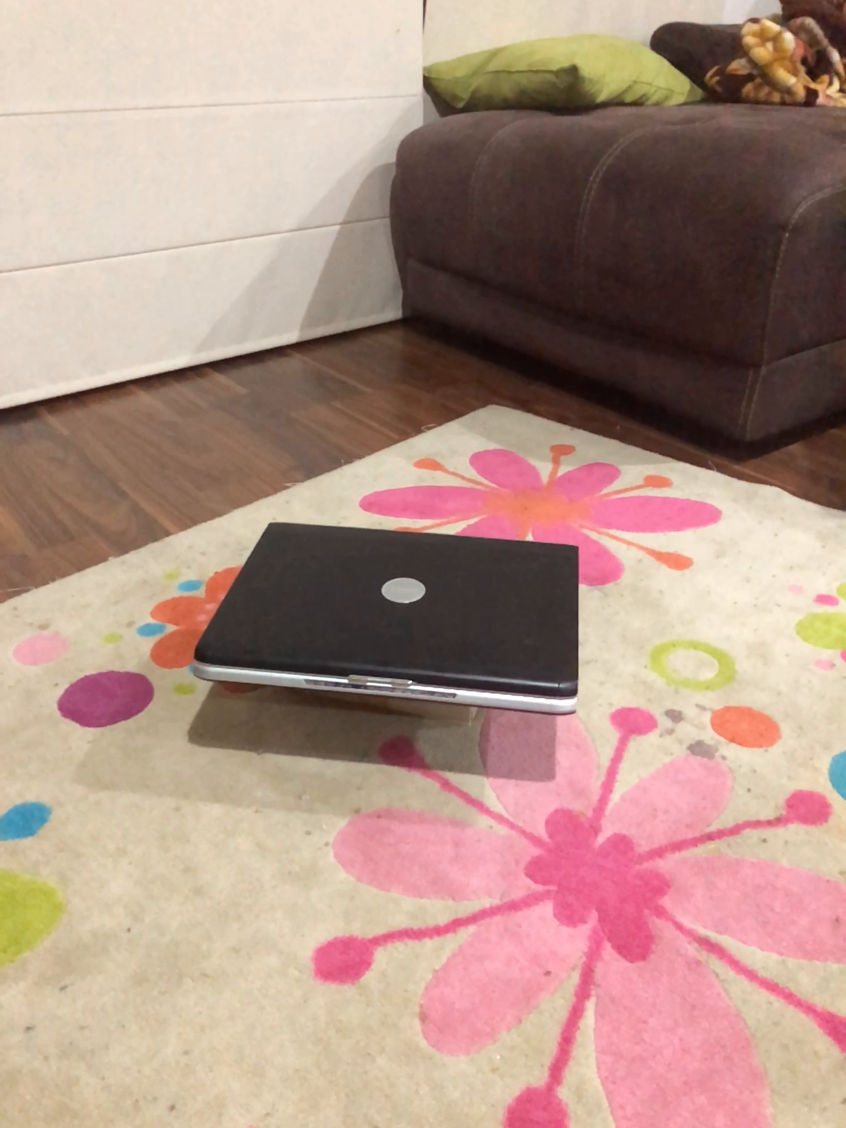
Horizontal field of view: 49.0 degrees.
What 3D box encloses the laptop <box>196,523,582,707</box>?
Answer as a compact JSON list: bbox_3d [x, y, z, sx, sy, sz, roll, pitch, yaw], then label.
[{"bbox_3d":[-0.022,0.039,0.935,0.353,0.015,0.233,4,36,10],"label":"laptop"}]
